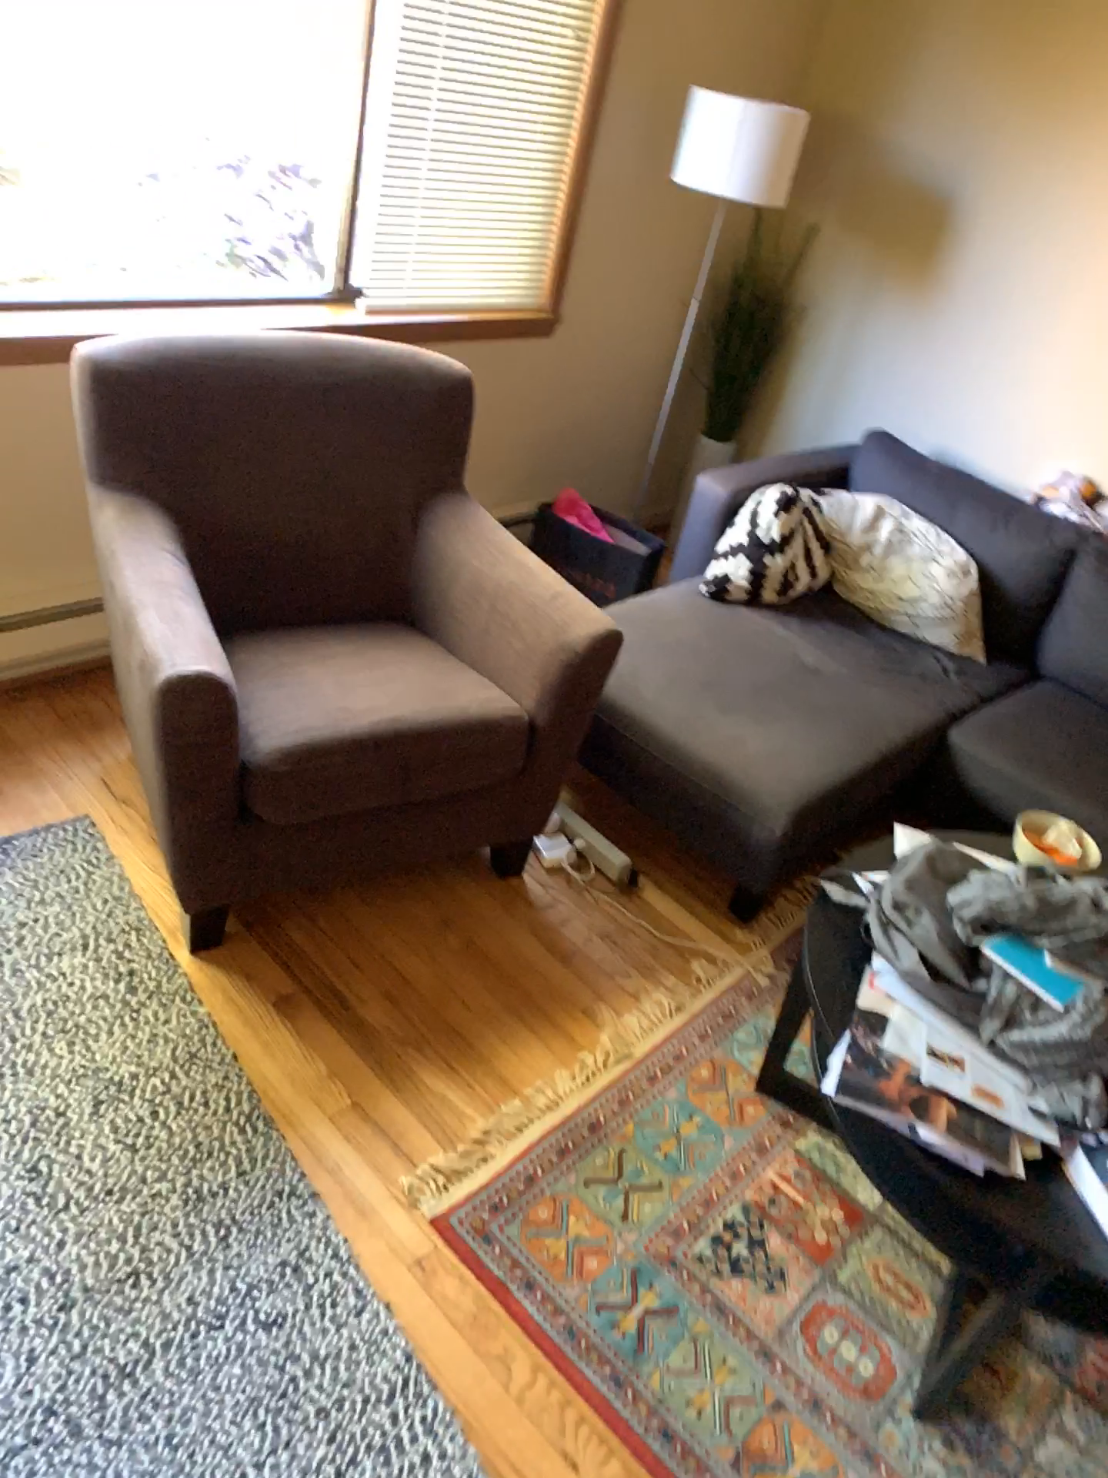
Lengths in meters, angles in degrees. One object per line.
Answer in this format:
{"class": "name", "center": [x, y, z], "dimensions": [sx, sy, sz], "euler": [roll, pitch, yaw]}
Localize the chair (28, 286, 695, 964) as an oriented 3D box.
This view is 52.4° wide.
{"class": "chair", "center": [-0.421, -0.272, 2.148], "dimensions": [0.881, 0.875, 0.804], "euler": [-10, 37, -32]}
